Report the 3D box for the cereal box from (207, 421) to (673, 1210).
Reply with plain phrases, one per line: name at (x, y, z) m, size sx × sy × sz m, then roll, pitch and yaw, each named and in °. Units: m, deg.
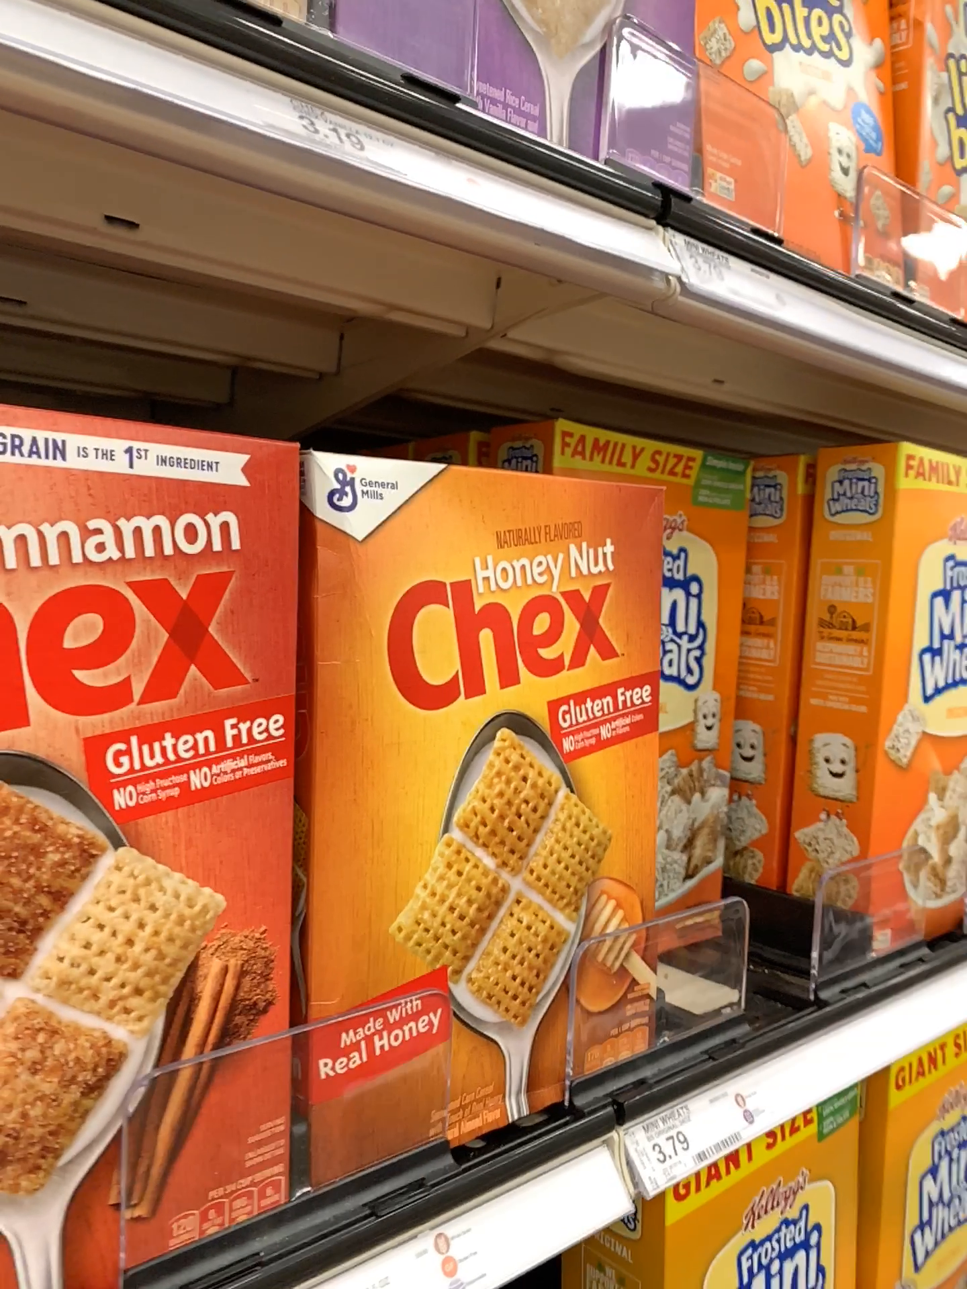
cereal box at (-0.011, 0.059, 0.439) m, size 0.200 × 0.280 × 0.060 m, roll 0°, pitch 5°, yaw -42°
